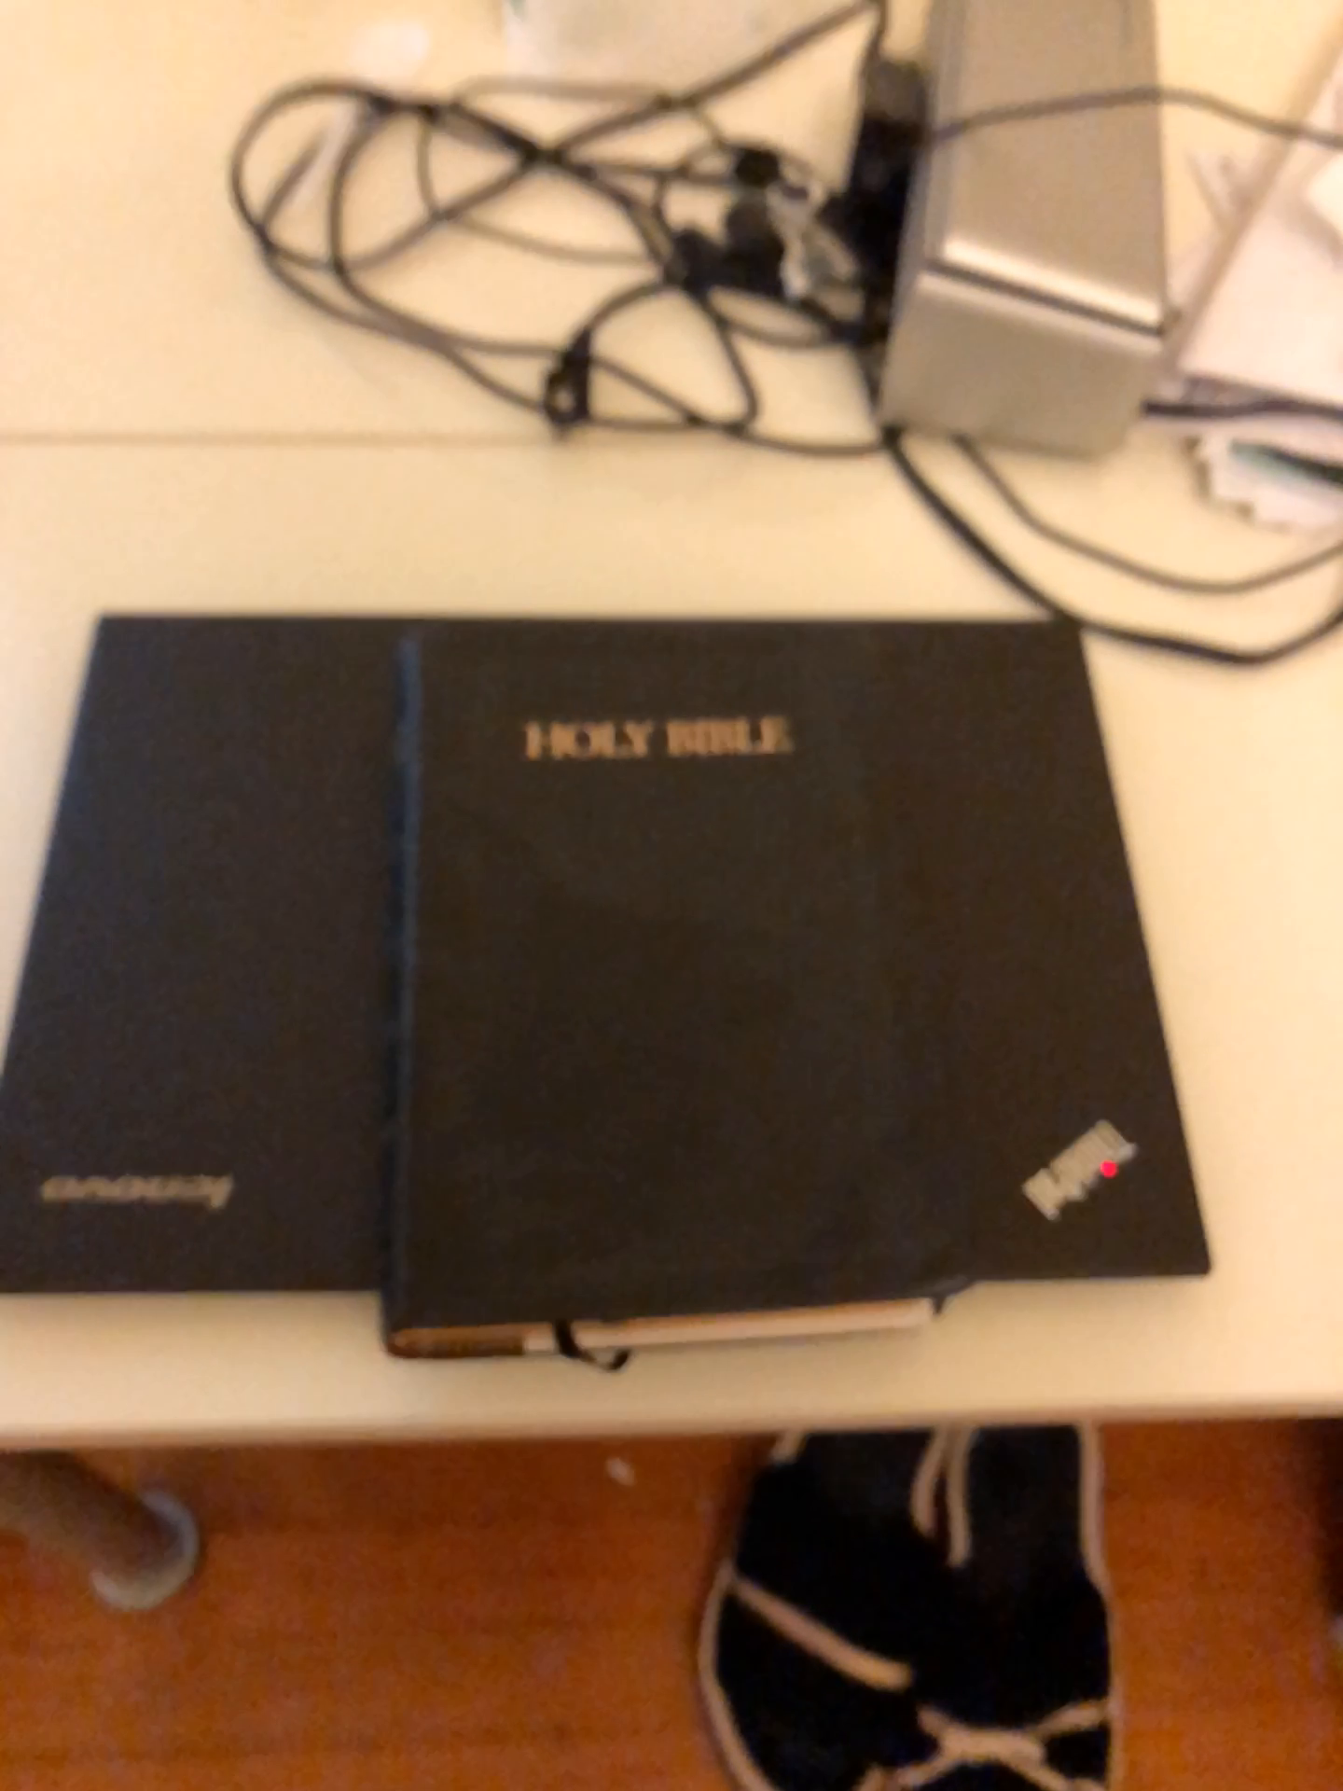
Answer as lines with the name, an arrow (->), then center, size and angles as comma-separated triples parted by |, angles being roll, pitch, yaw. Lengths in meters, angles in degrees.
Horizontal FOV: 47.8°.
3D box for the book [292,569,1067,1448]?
book -> -0.005, 0.016, 0.412 | 0.170, 0.040, 0.241 | -2, 58, -4
